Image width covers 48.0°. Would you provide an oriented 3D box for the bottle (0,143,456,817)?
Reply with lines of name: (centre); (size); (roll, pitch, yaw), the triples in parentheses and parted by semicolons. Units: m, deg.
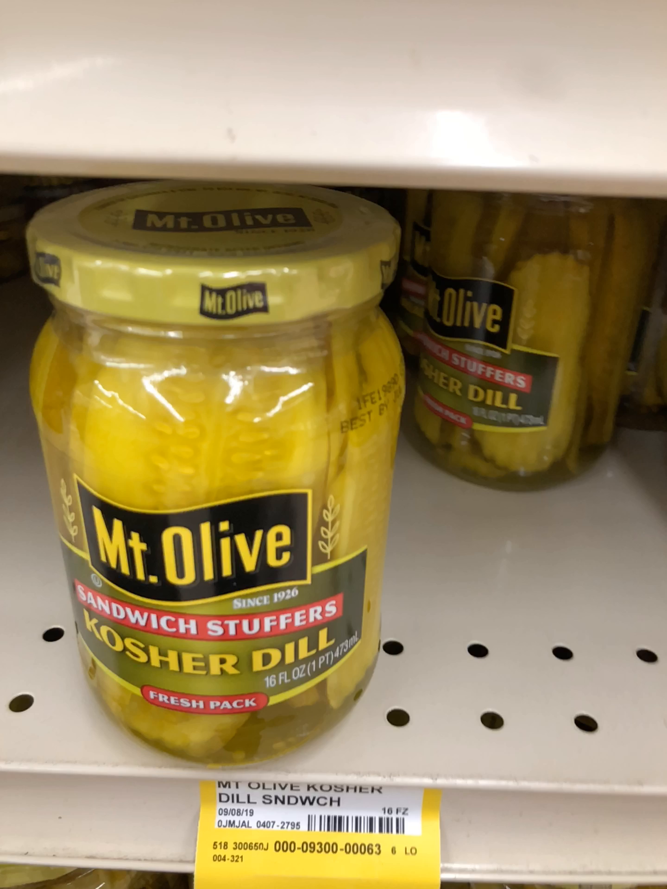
bottle: (-0.027, 0.007, 0.177); (0.090, 0.130, 0.080); (4, 31, 2)
